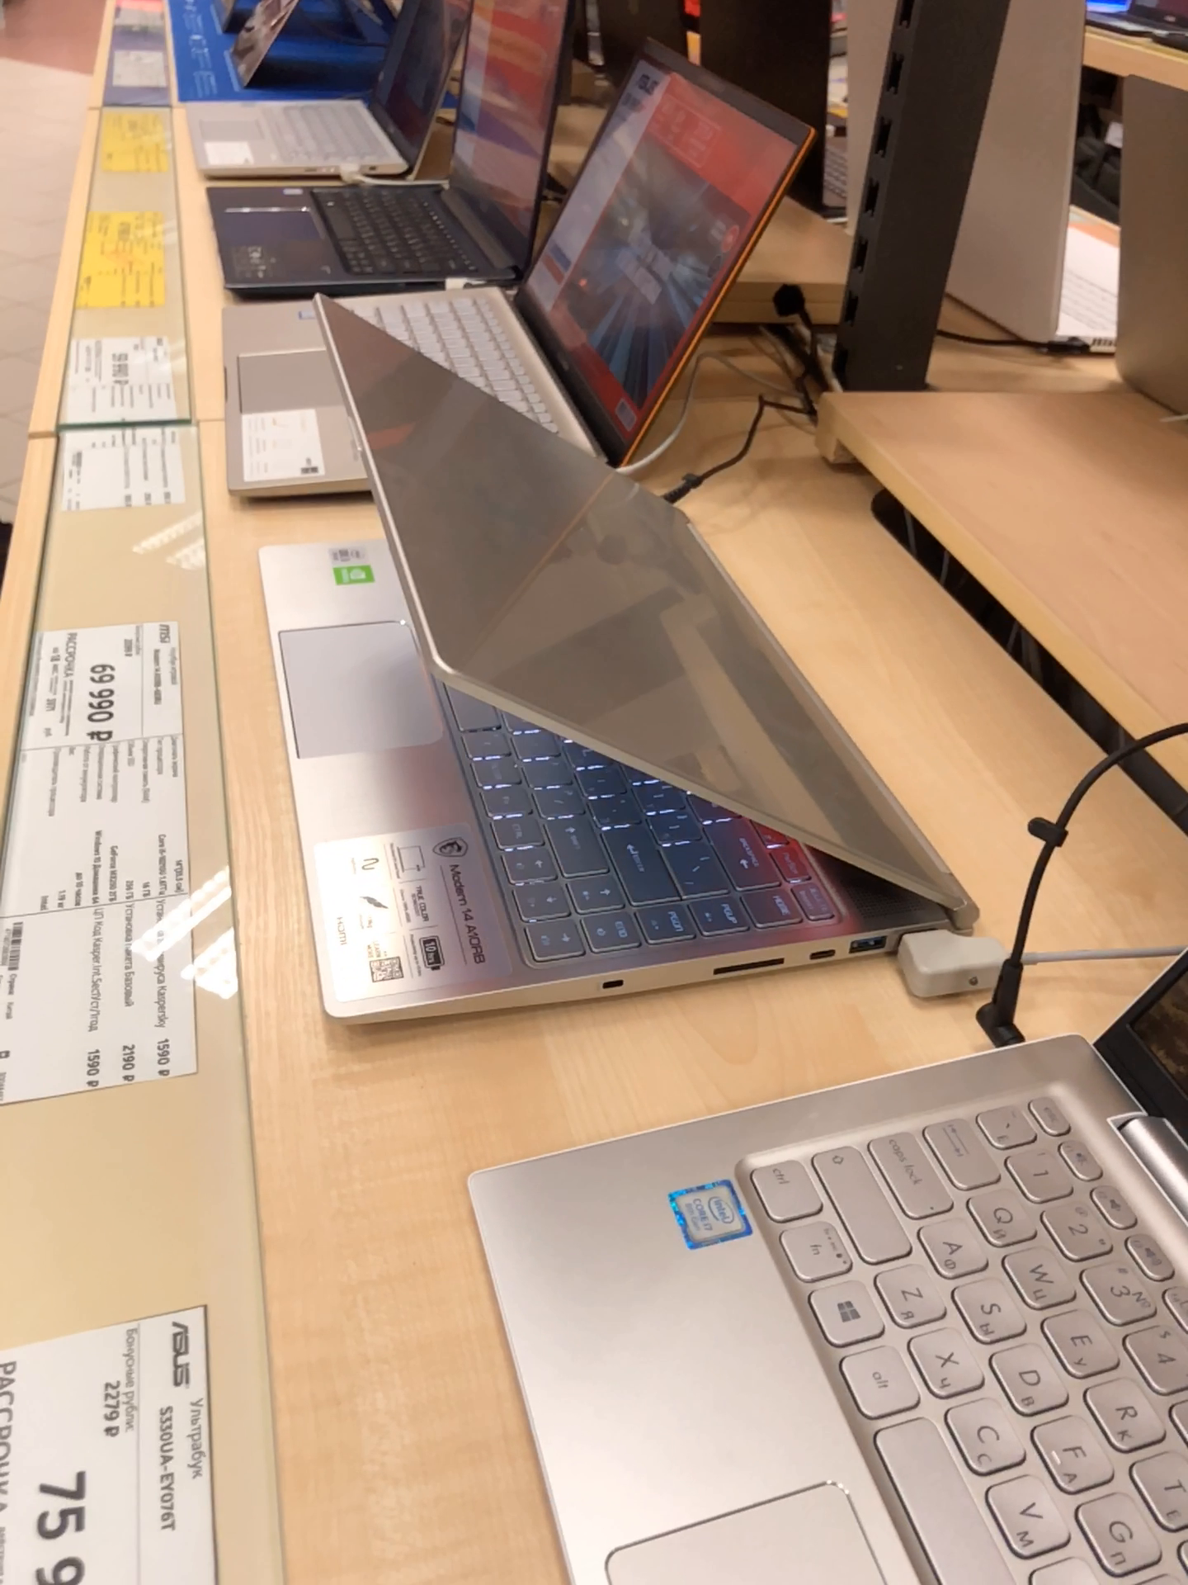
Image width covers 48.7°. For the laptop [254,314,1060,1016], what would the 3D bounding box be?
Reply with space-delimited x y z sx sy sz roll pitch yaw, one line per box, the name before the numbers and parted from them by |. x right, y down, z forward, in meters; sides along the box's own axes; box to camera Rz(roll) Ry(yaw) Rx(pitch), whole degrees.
laptop | -0.012 -0.082 0.519 0.216 0.112 0.322 -6 36 -14

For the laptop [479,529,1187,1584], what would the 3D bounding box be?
laptop | 0.164 0.112 0.224 0.300 0.154 0.327 -9 37 -14

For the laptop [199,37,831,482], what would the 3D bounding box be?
laptop | -0.074 -0.346 0.810 0.314 0.169 0.311 -6 37 -13
